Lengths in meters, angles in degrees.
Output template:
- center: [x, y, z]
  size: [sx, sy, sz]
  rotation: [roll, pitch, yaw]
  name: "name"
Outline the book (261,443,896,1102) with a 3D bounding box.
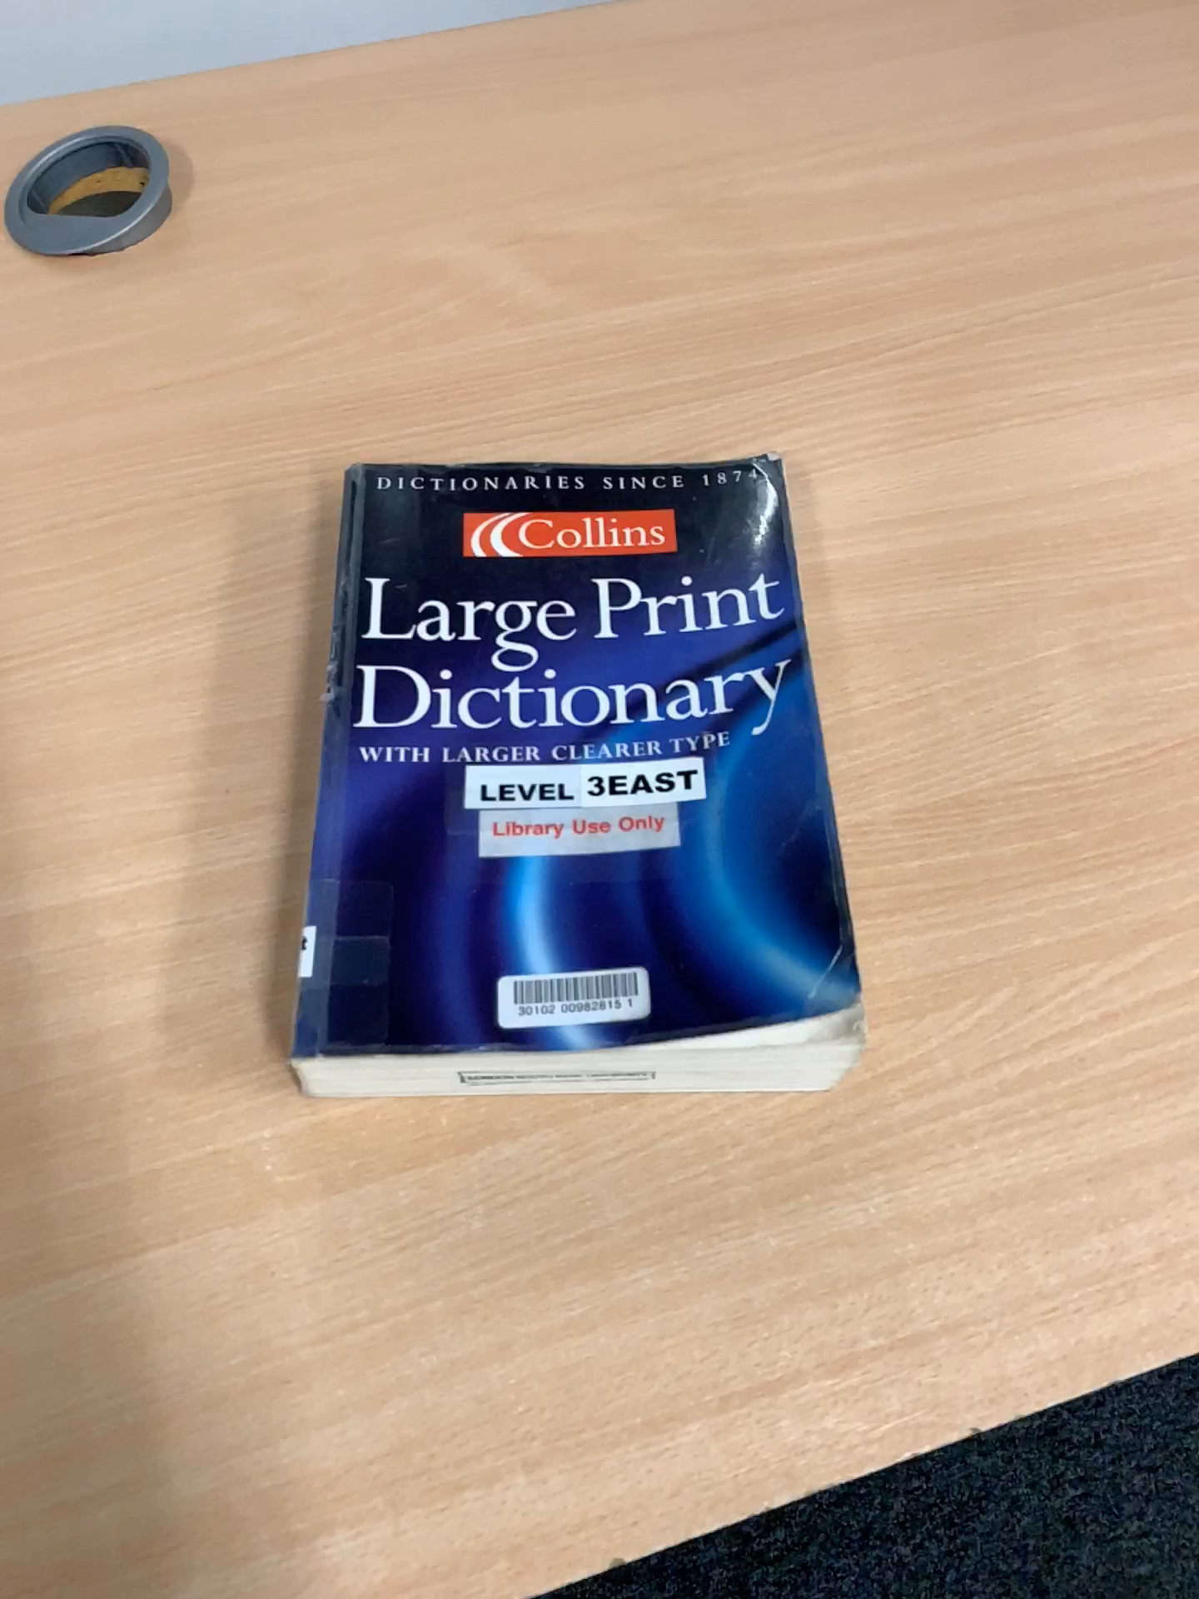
- center: [-0.009, -0.020, 0.441]
  size: [0.187, 0.050, 0.244]
  rotation: [-1, 61, -1]
  name: "book"
